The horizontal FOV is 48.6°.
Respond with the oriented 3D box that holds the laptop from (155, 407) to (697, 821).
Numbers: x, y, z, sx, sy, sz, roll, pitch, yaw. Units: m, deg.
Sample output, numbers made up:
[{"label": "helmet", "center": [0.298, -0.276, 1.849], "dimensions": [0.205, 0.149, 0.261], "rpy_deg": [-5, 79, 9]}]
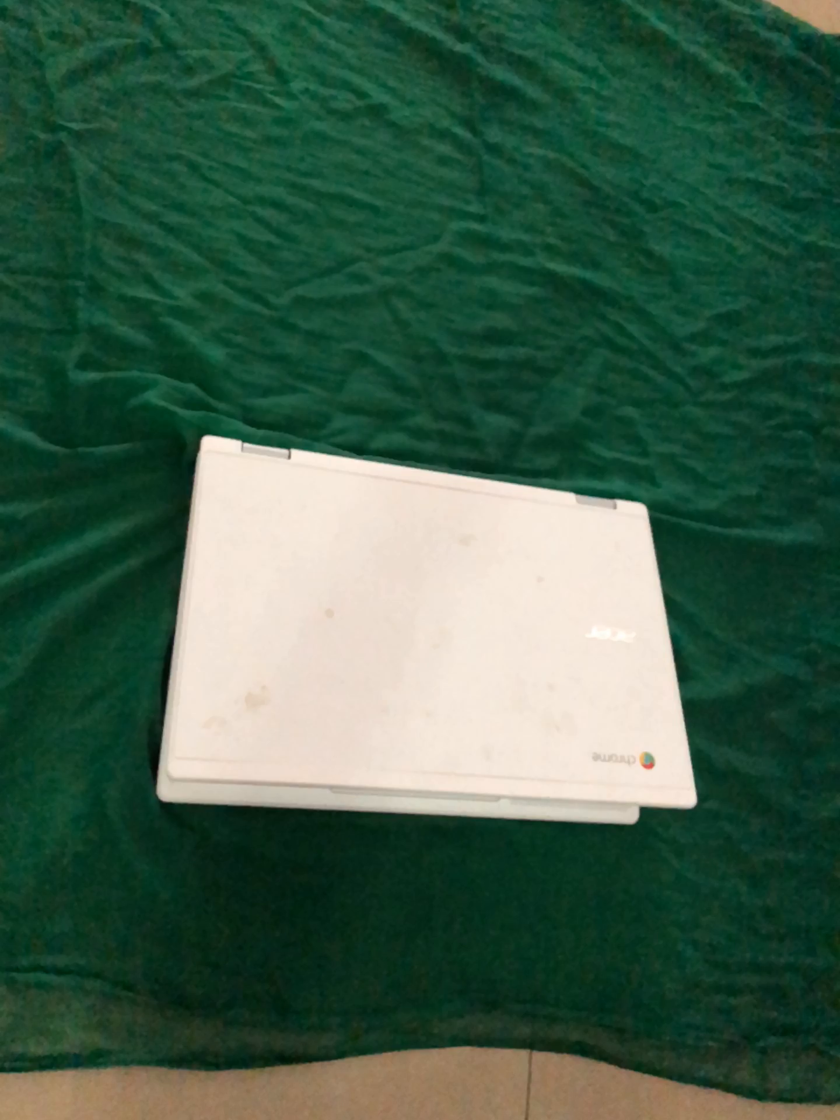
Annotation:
[{"label": "laptop", "center": [0.012, 0.038, 0.519], "dimensions": [0.281, 0.065, 0.193], "rpy_deg": [8, 76, -15]}]
